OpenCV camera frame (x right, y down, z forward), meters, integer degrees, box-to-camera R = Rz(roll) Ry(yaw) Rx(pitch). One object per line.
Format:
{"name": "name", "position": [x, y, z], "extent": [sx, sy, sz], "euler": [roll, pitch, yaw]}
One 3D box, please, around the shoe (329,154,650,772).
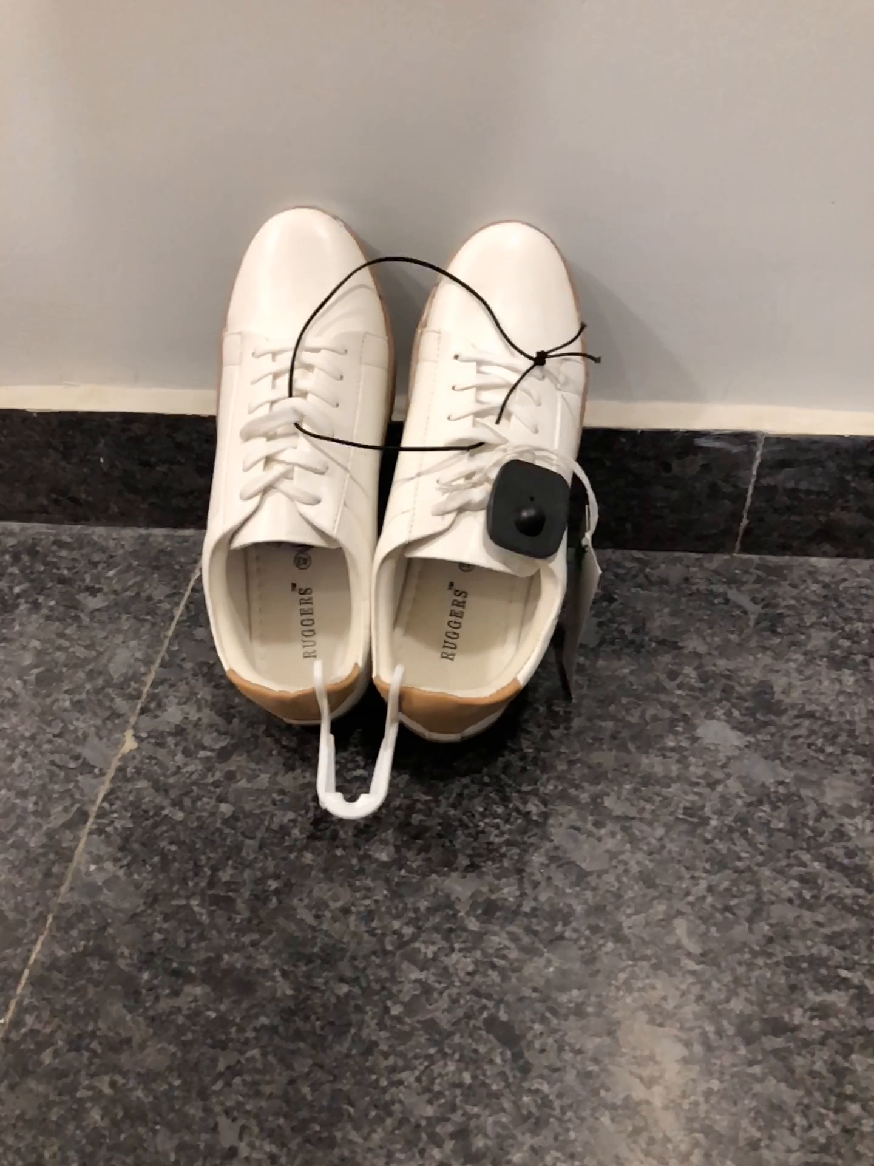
{"name": "shoe", "position": [0.028, -0.054, 0.484], "extent": [0.107, 0.103, 0.274], "euler": [8, 82, 3]}

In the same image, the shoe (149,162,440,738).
{"name": "shoe", "position": [-0.063, -0.064, 0.489], "extent": [0.101, 0.087, 0.273], "euler": [3, 80, 6]}
